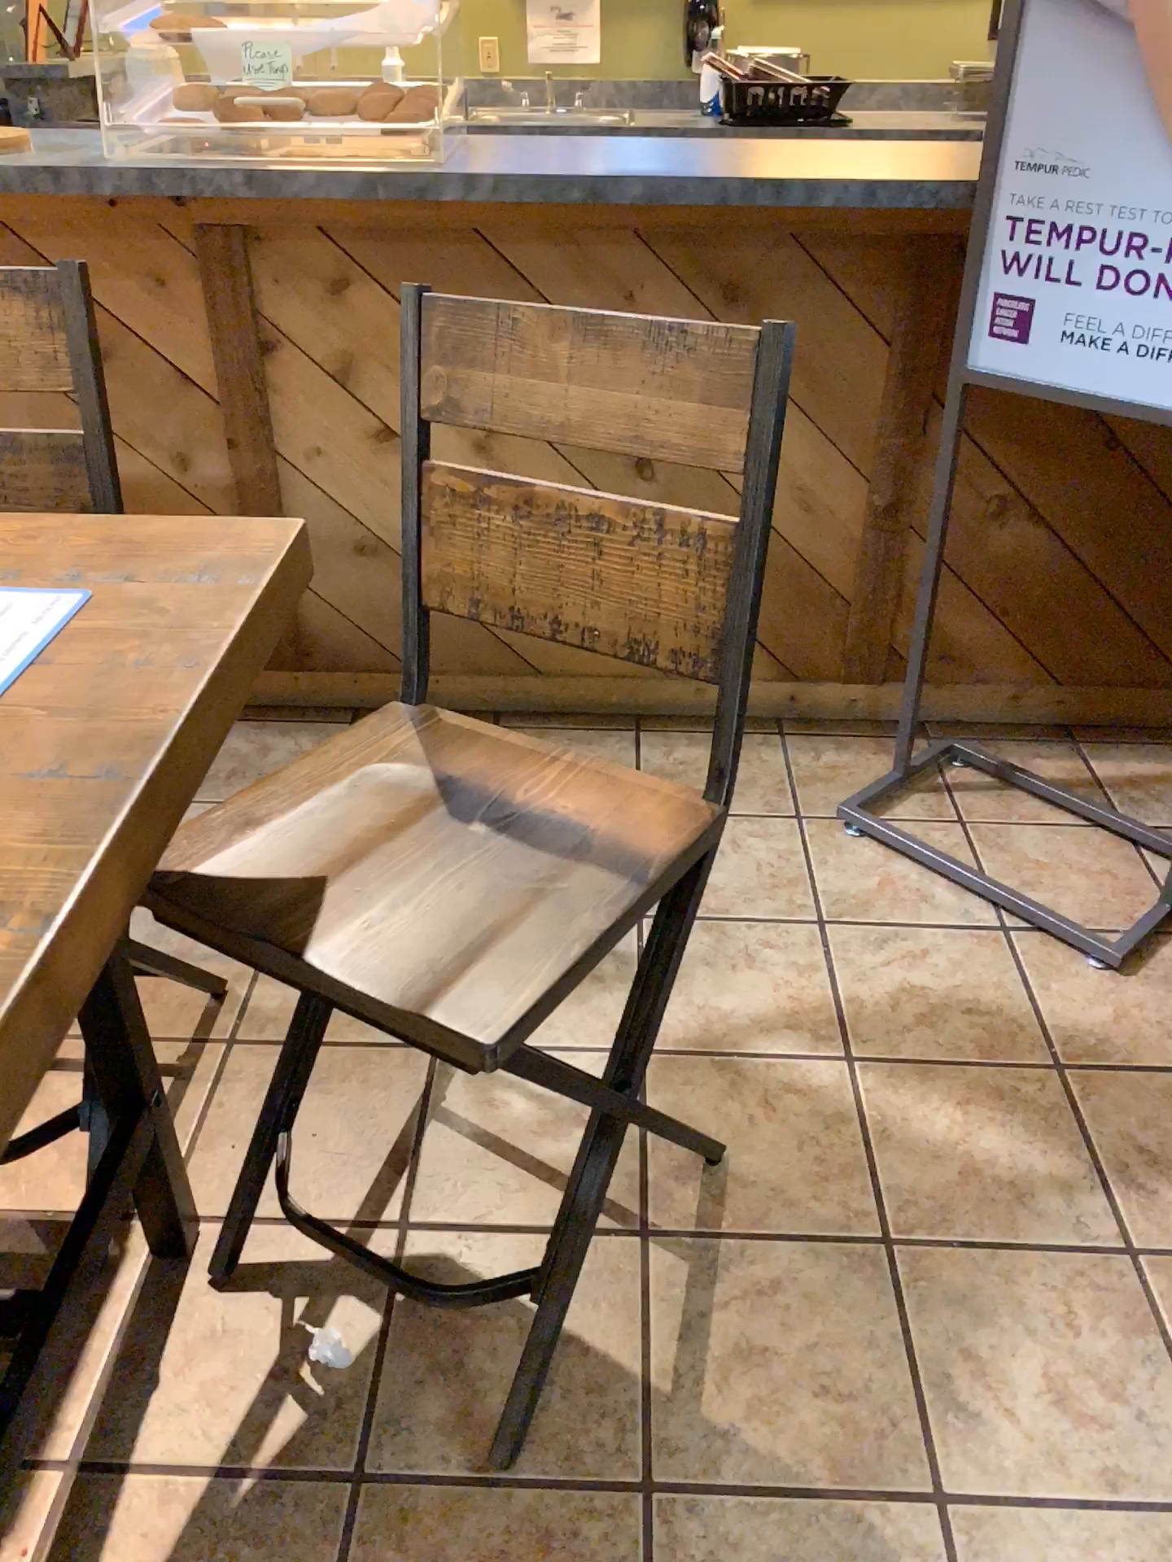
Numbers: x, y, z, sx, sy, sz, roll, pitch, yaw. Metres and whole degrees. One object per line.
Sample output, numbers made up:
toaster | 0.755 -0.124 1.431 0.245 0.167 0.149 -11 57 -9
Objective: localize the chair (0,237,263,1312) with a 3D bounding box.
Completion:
chair | -0.754 0.008 1.324 0.492 1.002 0.619 2 36 1

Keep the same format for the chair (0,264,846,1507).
chair | -0.110 0.087 1.199 0.443 0.983 0.617 19 41 29
